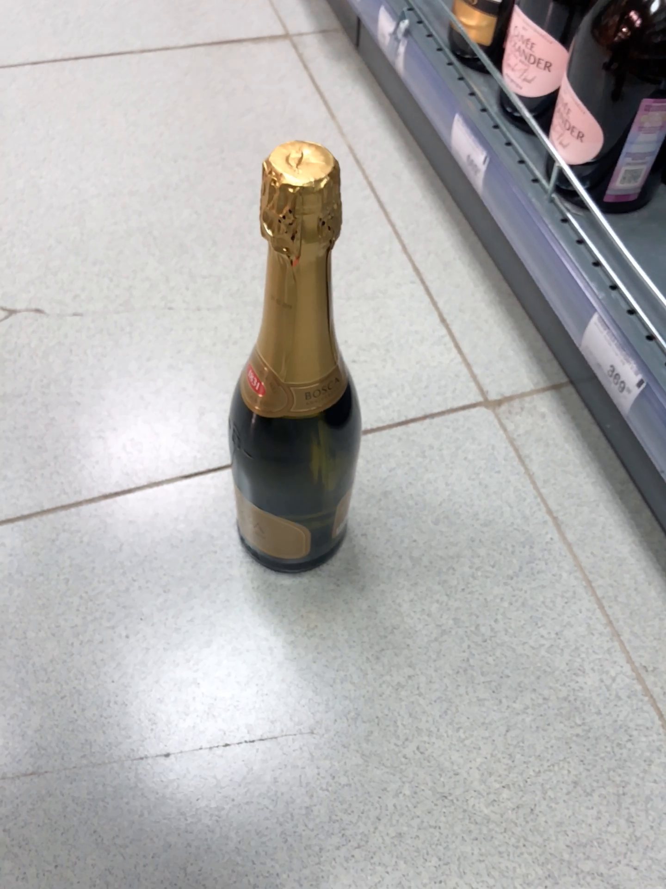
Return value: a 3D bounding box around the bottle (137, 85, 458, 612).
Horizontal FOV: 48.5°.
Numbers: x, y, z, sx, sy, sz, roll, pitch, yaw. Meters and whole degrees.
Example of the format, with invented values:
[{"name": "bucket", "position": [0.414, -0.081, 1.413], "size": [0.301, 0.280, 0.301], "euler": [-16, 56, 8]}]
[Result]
[{"name": "bottle", "position": [-0.026, -0.023, 0.429], "size": [0.100, 0.314, 0.100], "euler": [2, 56, -3]}]
